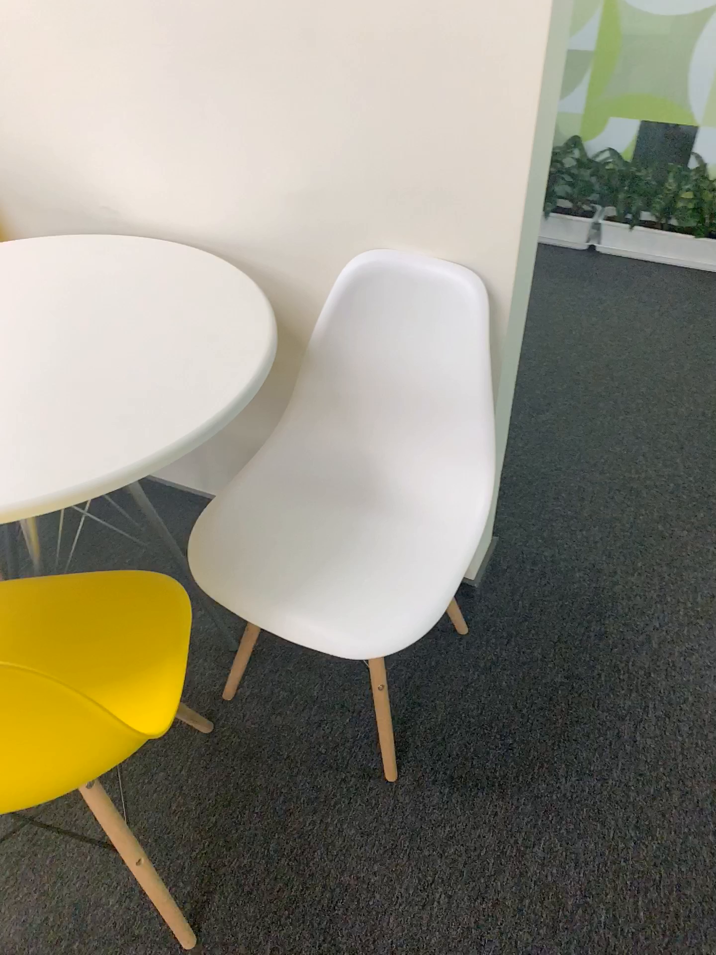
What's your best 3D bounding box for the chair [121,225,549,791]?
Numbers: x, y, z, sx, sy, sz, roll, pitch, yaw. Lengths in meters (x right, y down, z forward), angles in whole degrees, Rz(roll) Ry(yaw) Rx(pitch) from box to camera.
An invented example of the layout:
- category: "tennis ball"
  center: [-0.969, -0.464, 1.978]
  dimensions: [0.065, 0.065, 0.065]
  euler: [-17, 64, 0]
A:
- category: "chair"
  center: [-0.010, 0.078, 1.362]
  dimensions: [0.480, 0.875, 0.442]
  euler: [18, 44, 20]
